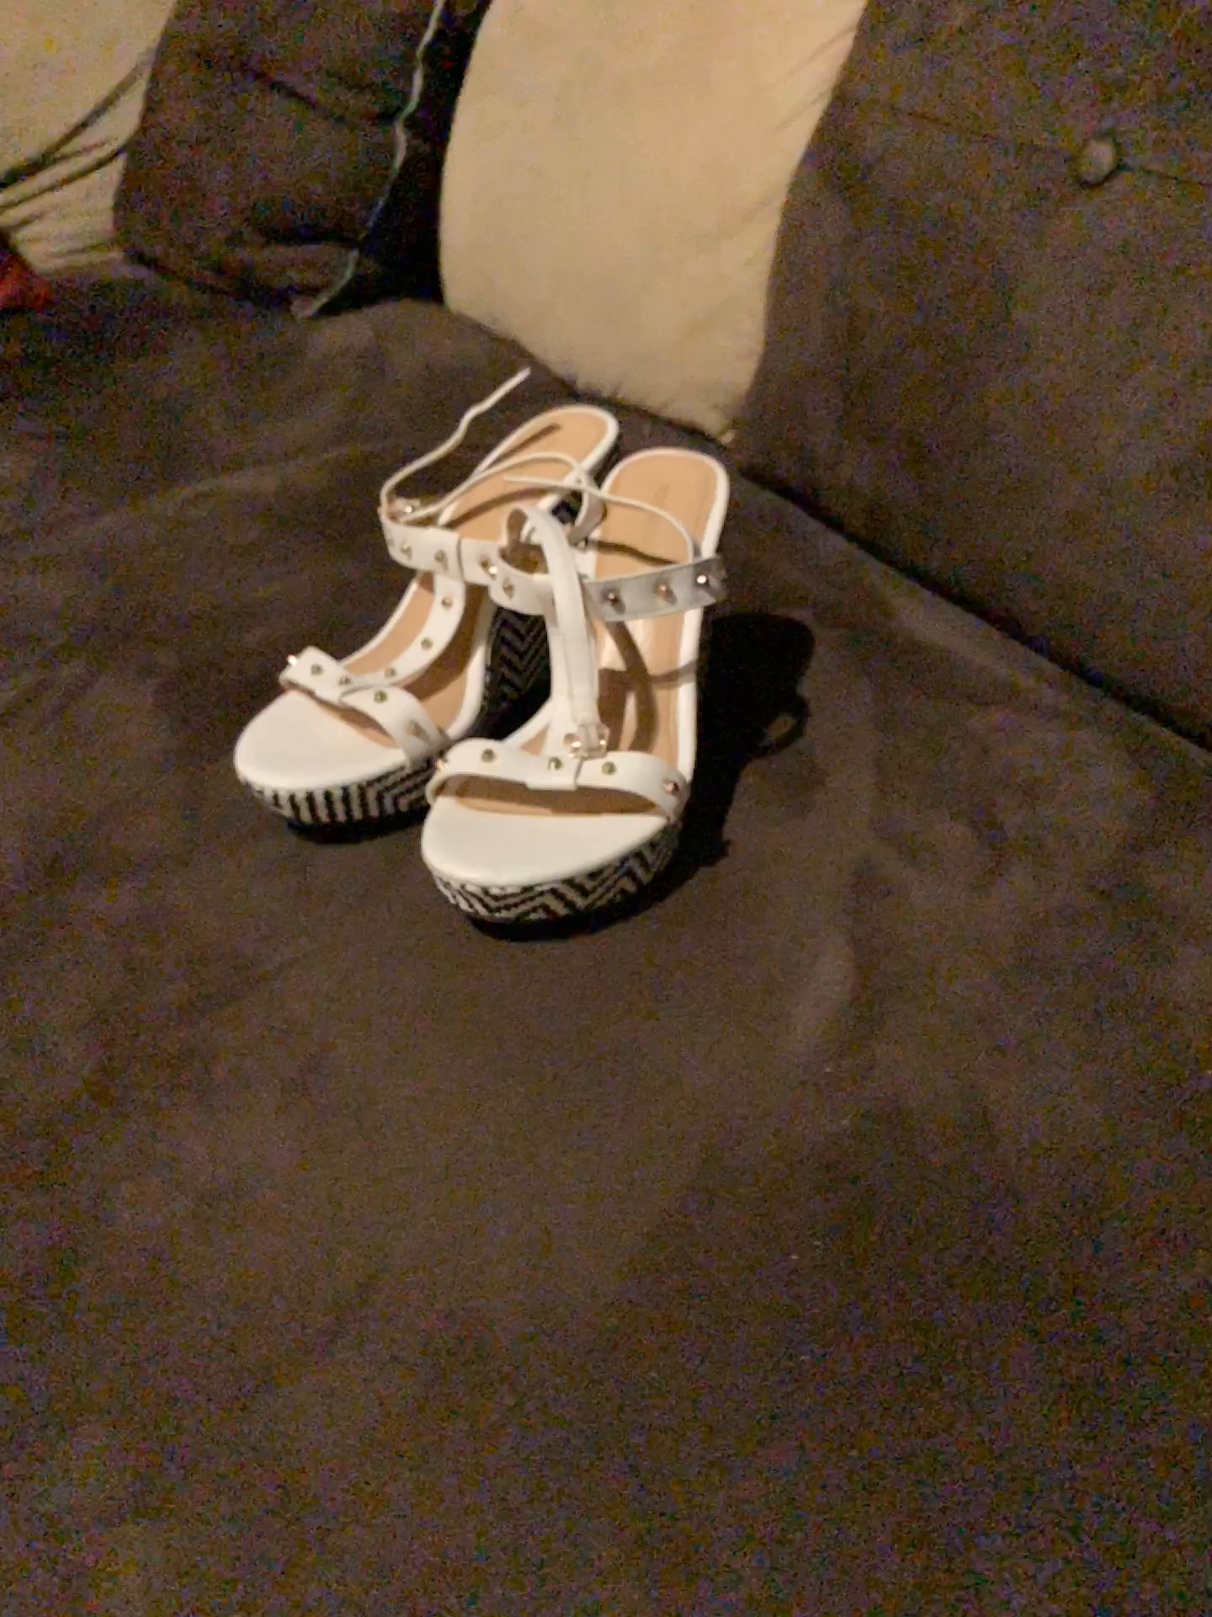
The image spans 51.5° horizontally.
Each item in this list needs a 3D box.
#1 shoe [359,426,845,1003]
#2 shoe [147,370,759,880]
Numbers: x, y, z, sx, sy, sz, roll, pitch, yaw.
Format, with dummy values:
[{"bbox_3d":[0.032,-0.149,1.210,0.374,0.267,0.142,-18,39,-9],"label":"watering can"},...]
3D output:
[{"bbox_3d":[0.011,-0.056,0.523,0.100,0.099,0.251,17,42,16],"label":"shoe"},{"bbox_3d":[-0.055,-0.098,0.574,0.110,0.099,0.261,30,49,28],"label":"shoe"}]
